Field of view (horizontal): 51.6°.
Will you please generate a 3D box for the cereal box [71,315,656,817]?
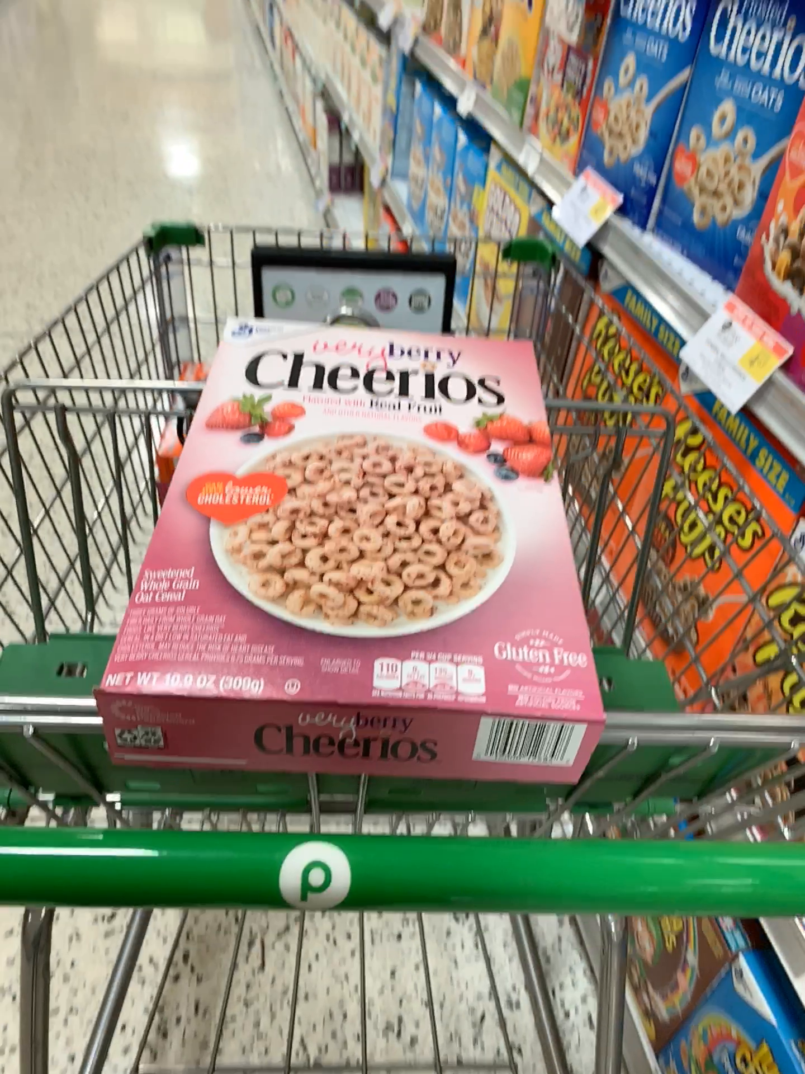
[{"bbox_3d":[-0.012,-0.009,0.422,0.210,0.059,0.283,4,43,-2],"label":"cereal box"}]
